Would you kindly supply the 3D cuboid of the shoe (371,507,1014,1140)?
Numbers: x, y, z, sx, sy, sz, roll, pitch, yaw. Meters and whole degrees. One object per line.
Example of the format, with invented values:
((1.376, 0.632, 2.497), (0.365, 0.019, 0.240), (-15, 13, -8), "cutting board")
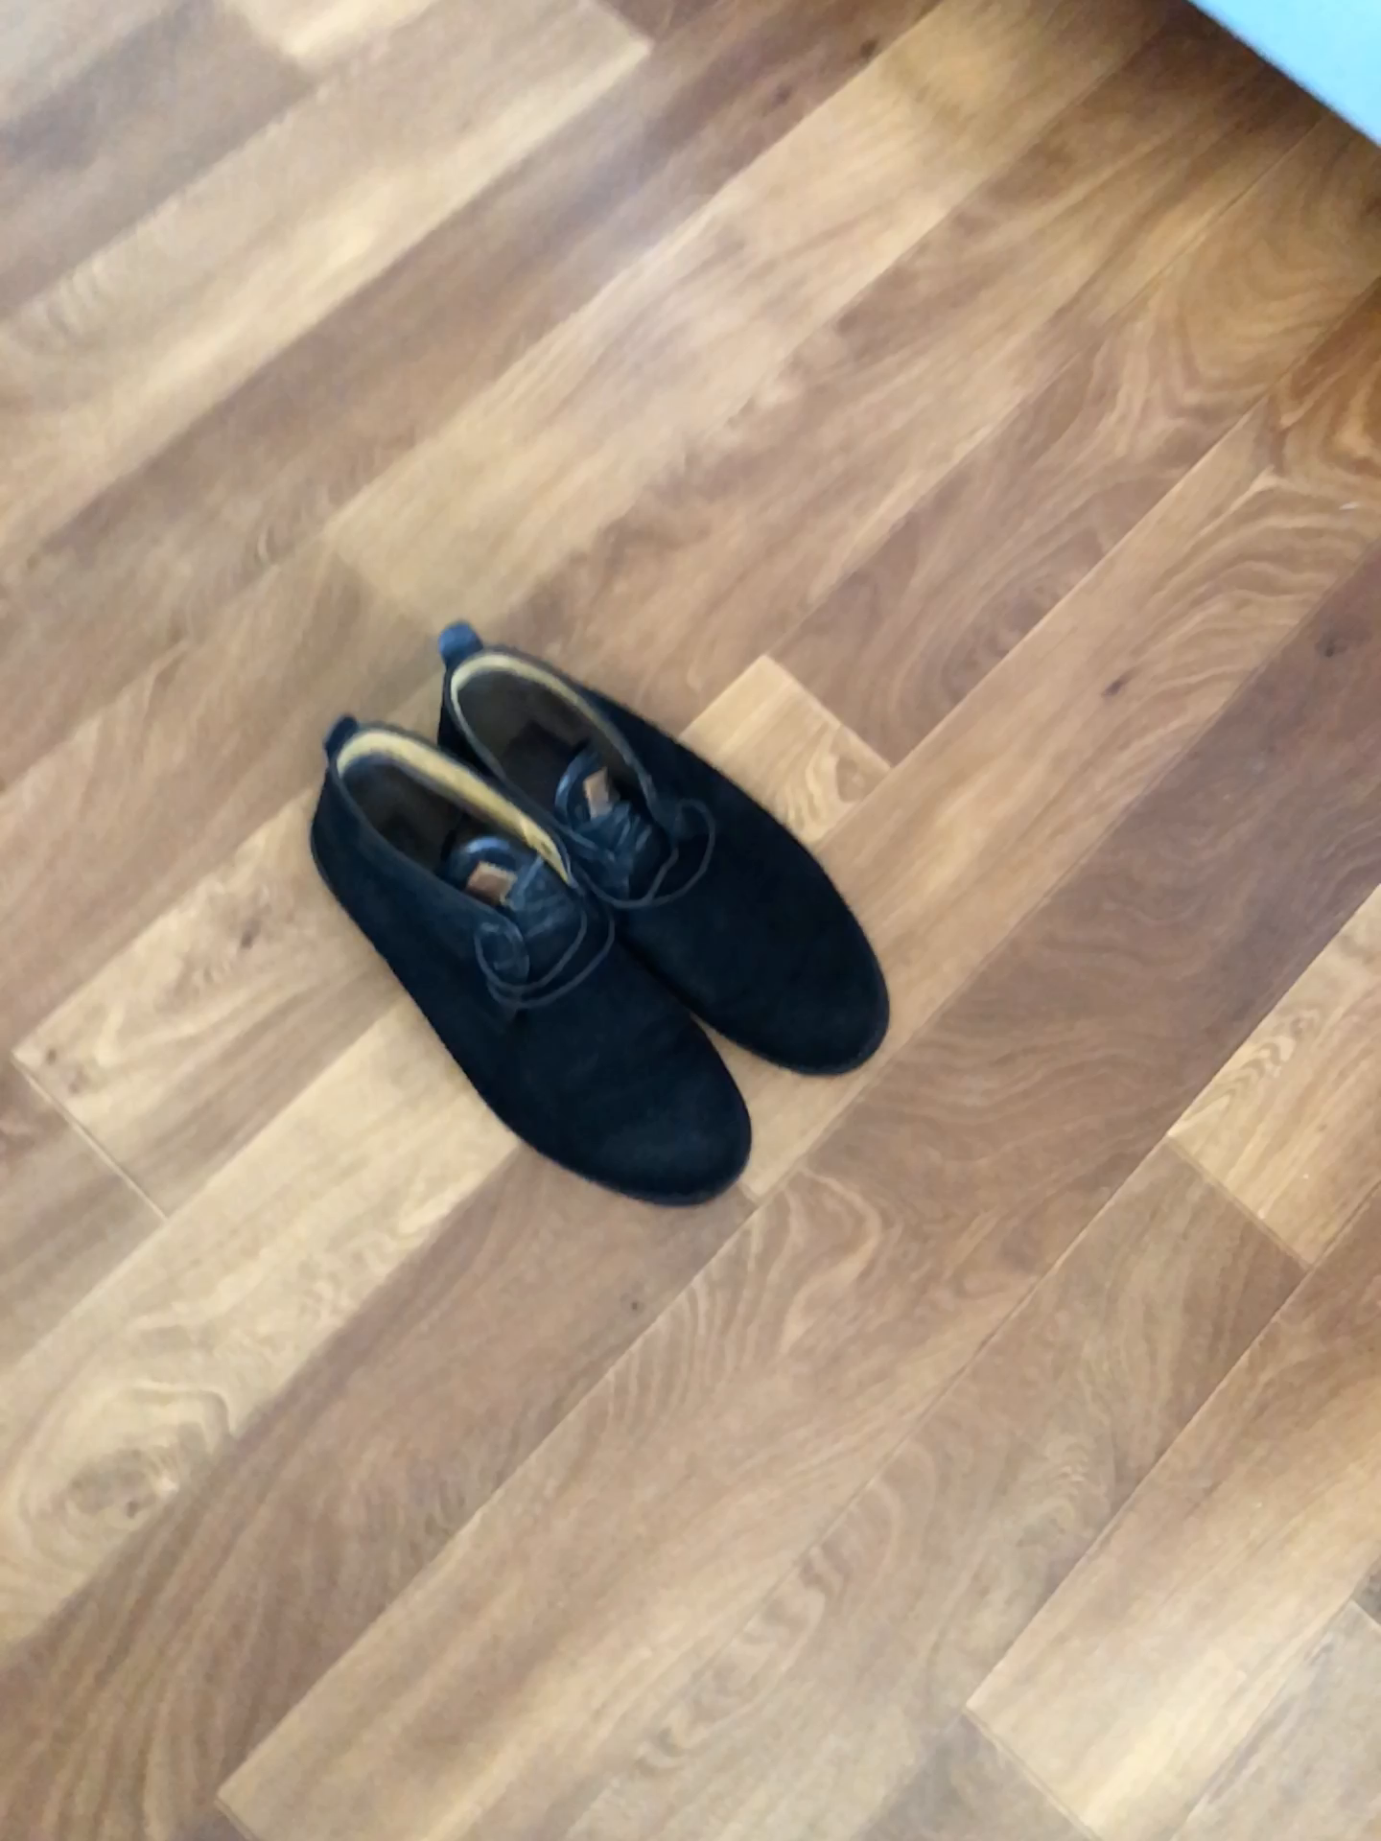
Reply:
((-0.005, -0.041, 0.741), (0.290, 0.130, 0.110), (43, 77, 7), "shoe")

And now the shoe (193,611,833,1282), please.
((-0.082, 0.018, 0.712), (0.110, 0.130, 0.290), (-40, 81, -13), "shoe")
